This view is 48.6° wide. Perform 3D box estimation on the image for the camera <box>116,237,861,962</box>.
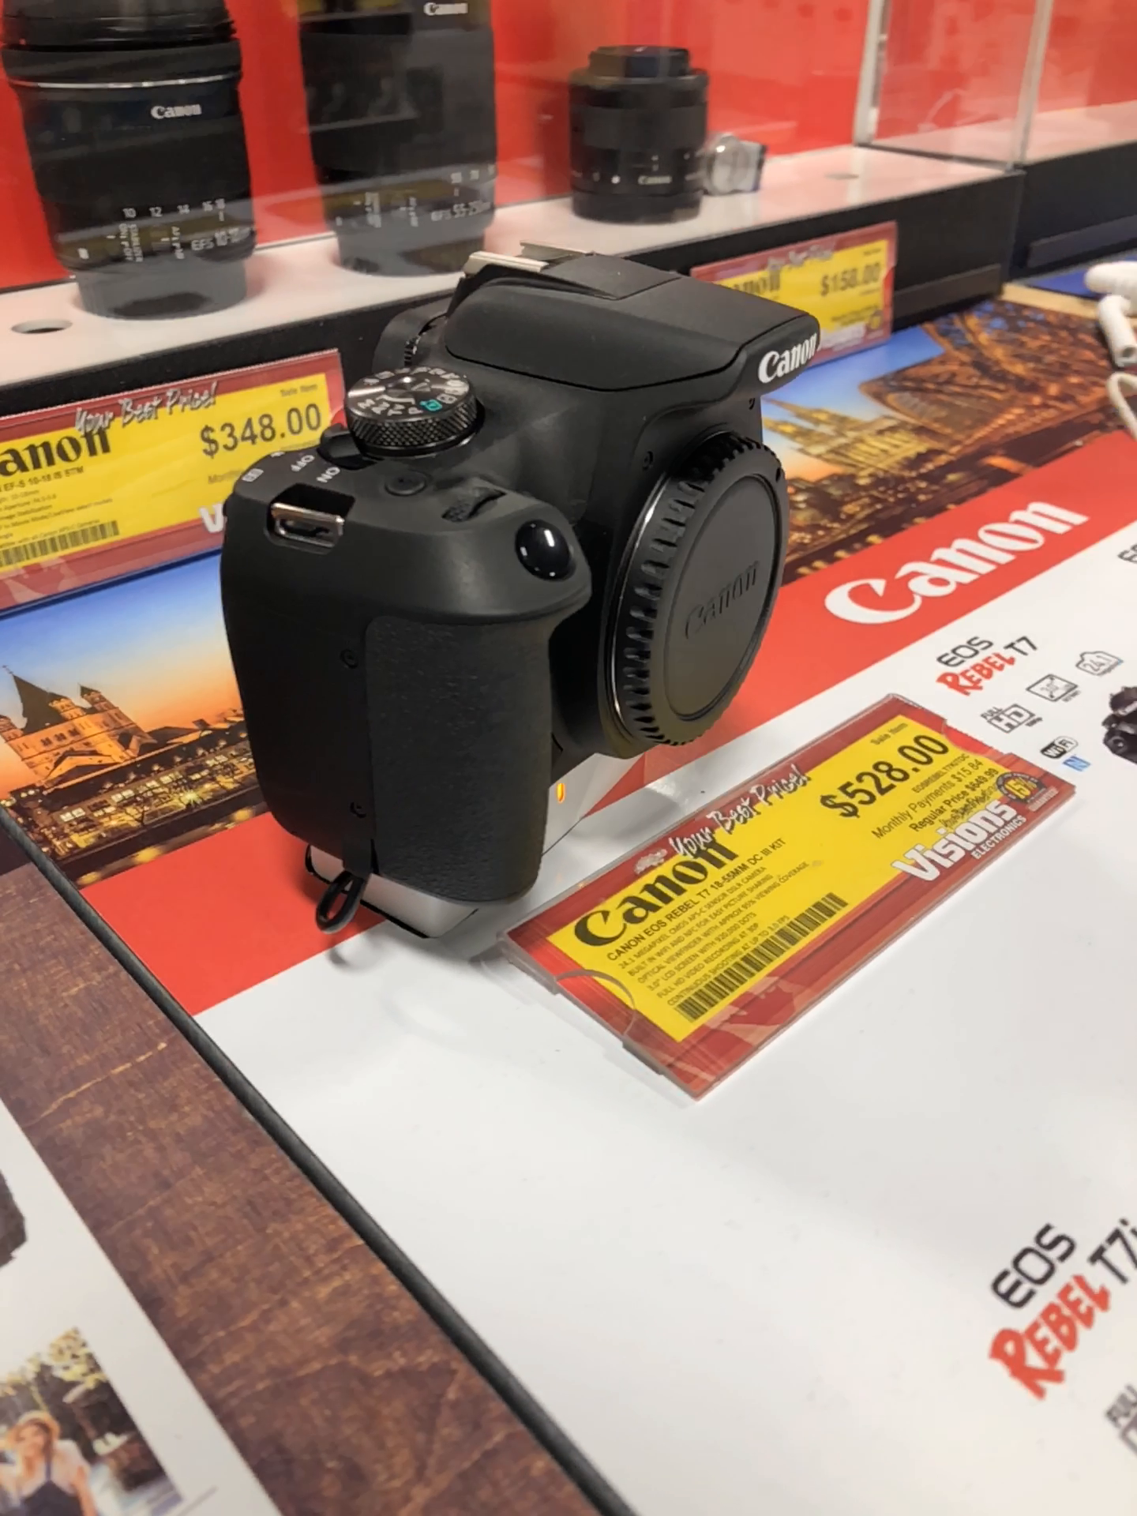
[{"bbox_3d":[-0.006,-0.044,0.260,0.080,0.089,0.131,18,37,26],"label":"camera"}]
